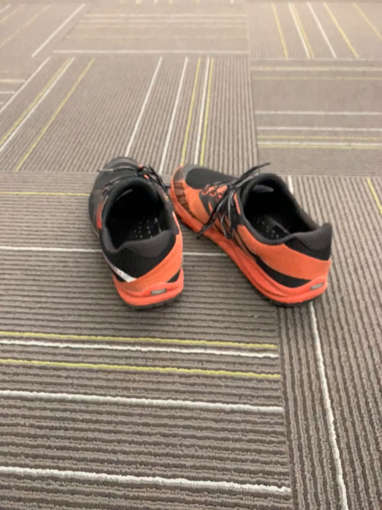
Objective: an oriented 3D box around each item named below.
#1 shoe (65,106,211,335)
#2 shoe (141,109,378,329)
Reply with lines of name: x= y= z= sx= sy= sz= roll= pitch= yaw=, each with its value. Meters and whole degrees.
shoe: x=-0.085 y=-0.071 z=0.562 sx=0.130 sy=0.129 sz=0.322 roll=-13 pitch=46 yaw=-11
shoe: x=0.071 y=-0.071 z=0.563 sx=0.130 sy=0.129 sz=0.311 roll=-27 pitch=50 yaw=-23
